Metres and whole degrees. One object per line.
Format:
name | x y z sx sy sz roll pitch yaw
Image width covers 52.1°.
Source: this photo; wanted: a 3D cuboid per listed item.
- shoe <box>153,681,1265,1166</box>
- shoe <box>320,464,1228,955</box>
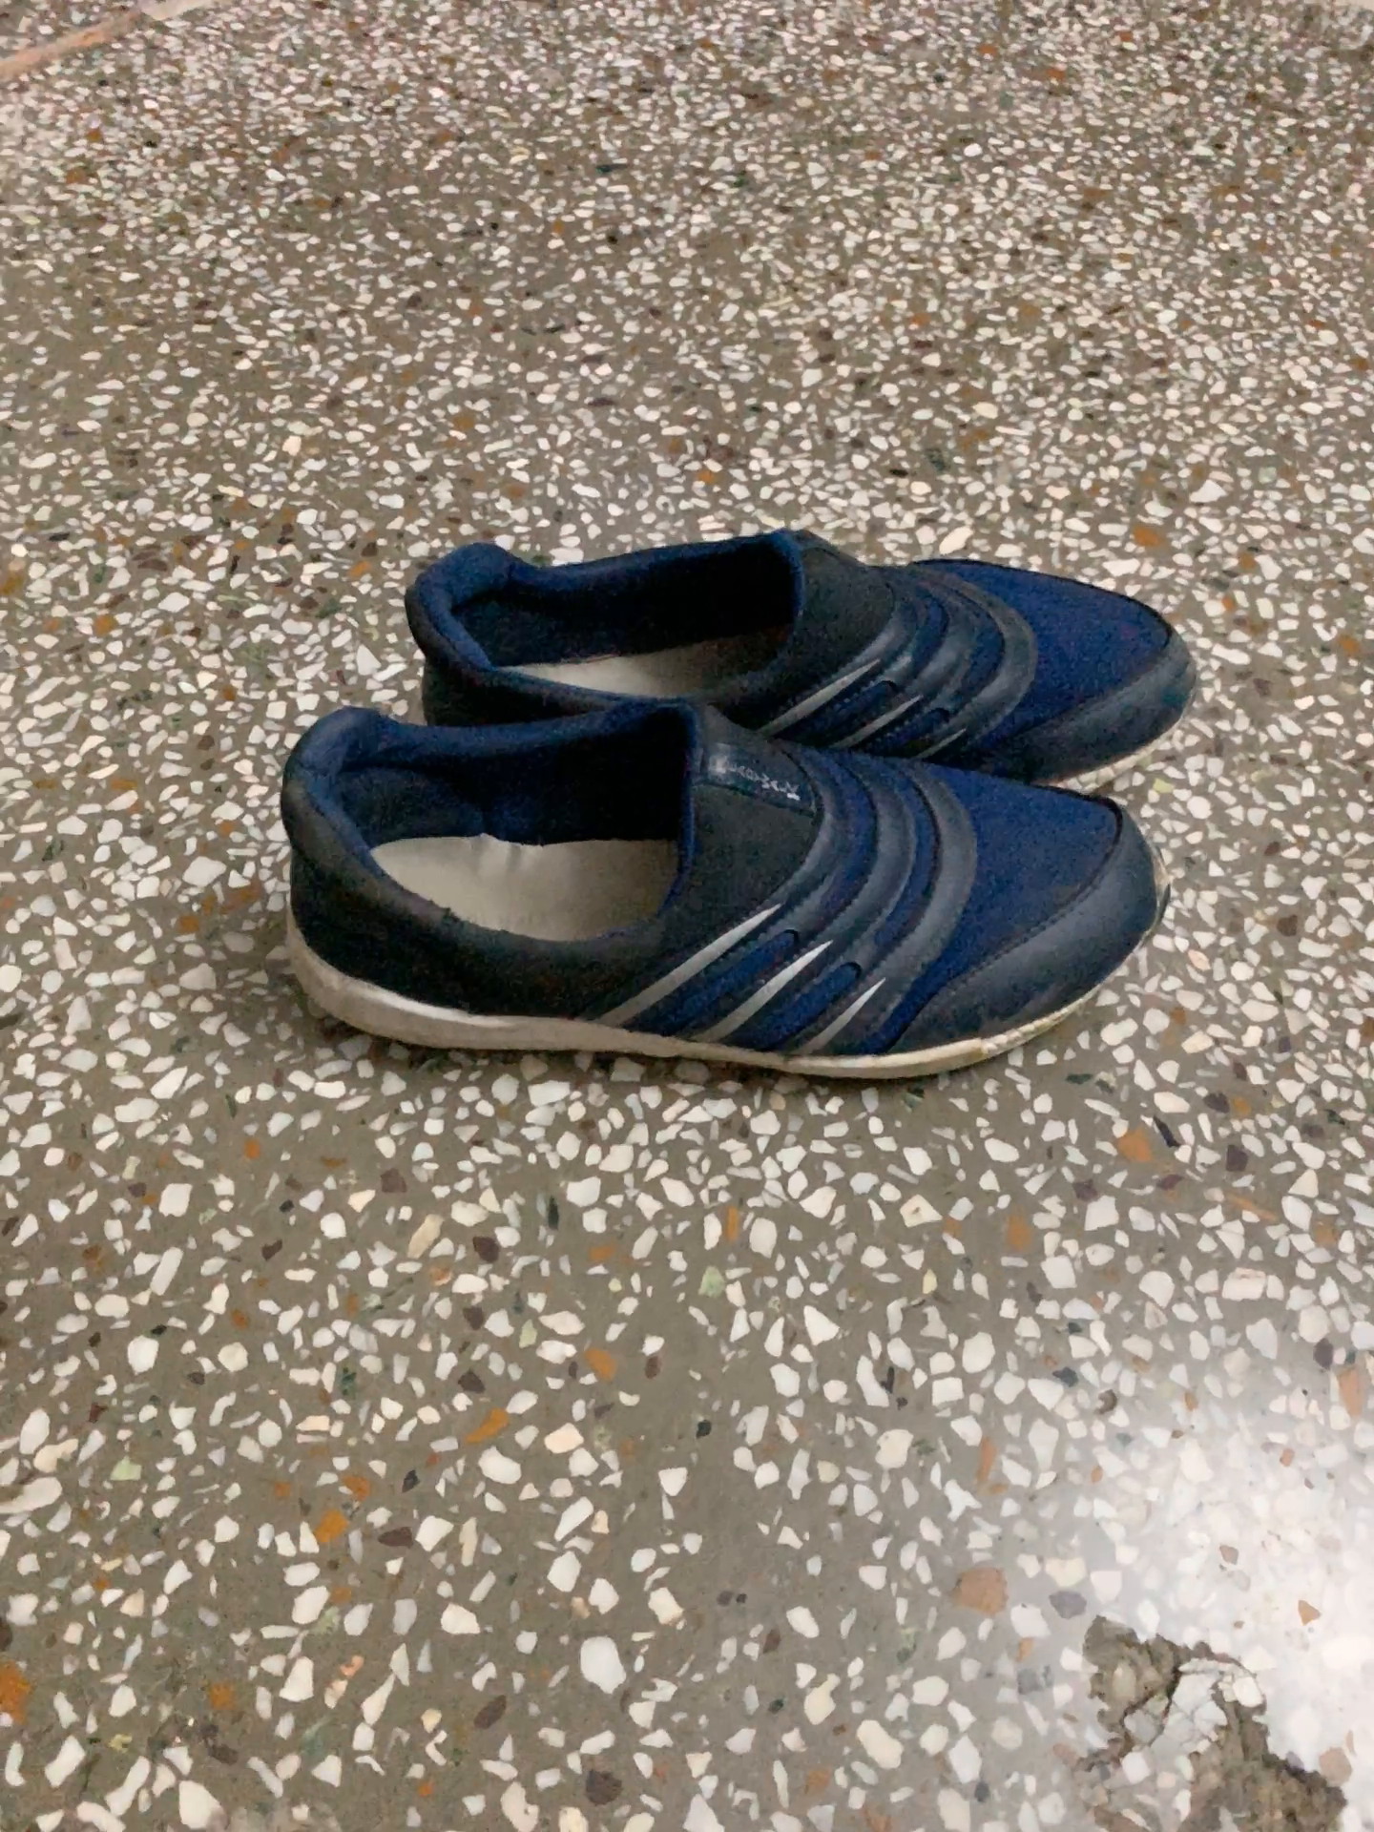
shoe | 0.004 0.002 0.419 0.283 0.080 0.104 -3 56 -4
shoe | 0.023 -0.074 0.497 0.280 0.096 0.104 -8 57 -7
